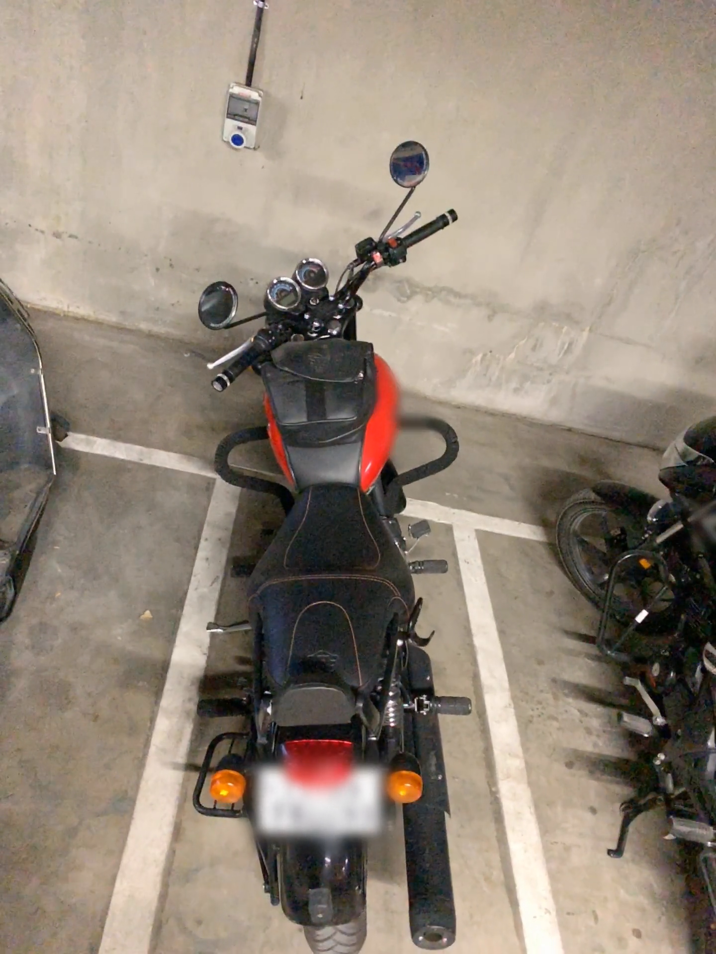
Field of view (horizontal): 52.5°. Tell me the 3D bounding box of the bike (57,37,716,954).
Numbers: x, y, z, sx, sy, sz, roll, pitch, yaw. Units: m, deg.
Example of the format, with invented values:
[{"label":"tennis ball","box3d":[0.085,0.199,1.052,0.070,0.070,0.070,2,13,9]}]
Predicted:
[{"label":"bike","box3d":[-0.205,-0.054,1.872,0.829,1.302,1.842,6,40,-17]}]
